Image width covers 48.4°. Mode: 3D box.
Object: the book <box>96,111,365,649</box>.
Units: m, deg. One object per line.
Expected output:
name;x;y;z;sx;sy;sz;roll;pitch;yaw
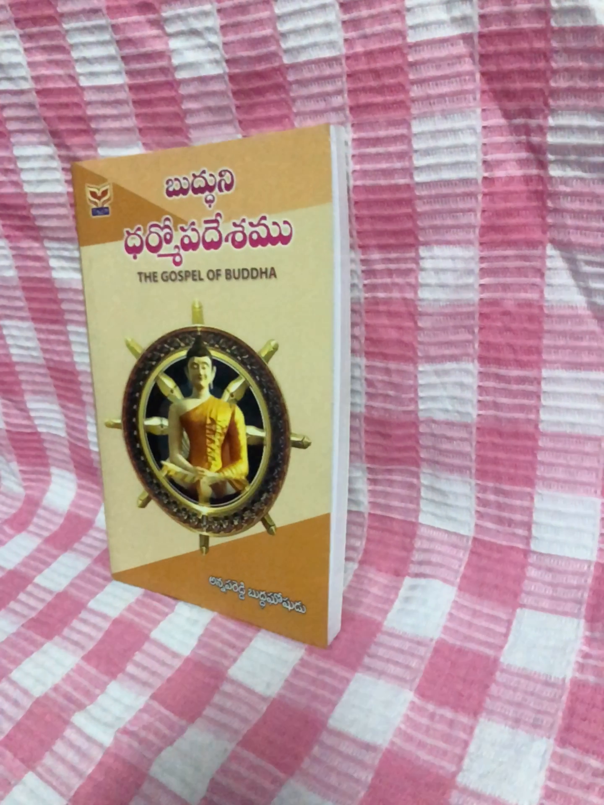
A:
book;-0.038;-0.010;0.309;0.140;0.210;0.020;5;9;35
